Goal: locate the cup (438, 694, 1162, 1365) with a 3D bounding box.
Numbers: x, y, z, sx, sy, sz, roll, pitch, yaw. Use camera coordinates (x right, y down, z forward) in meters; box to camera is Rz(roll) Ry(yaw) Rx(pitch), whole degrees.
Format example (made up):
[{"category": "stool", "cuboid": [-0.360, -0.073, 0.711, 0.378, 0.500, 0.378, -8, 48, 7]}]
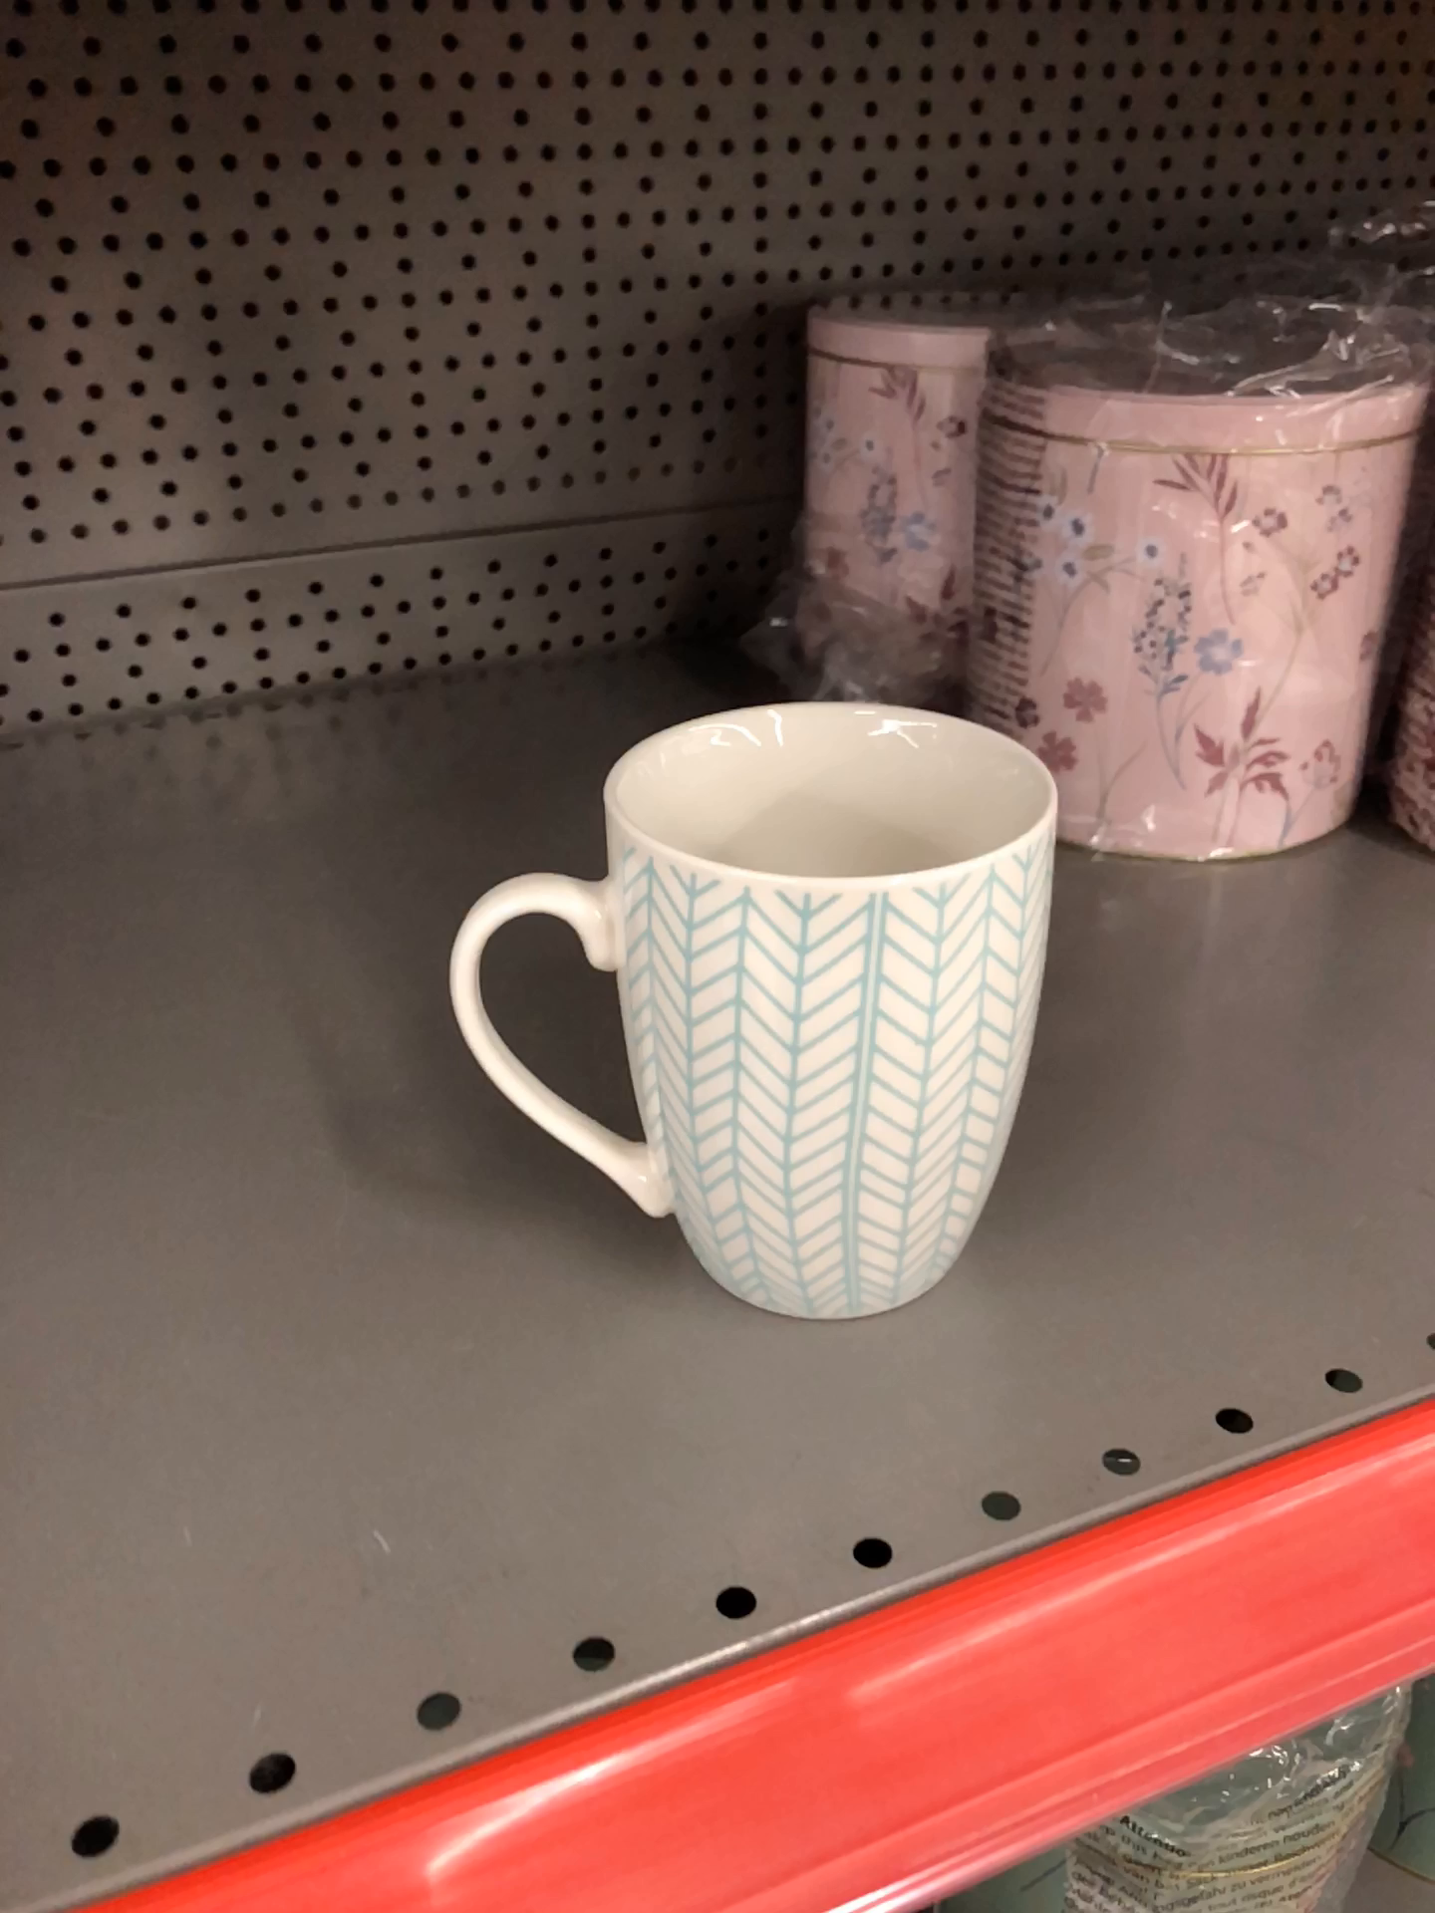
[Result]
[{"category": "cup", "cuboid": [0.011, 0.011, 0.324, 0.119, 0.096, 0.093, -2, 30, -4]}]
